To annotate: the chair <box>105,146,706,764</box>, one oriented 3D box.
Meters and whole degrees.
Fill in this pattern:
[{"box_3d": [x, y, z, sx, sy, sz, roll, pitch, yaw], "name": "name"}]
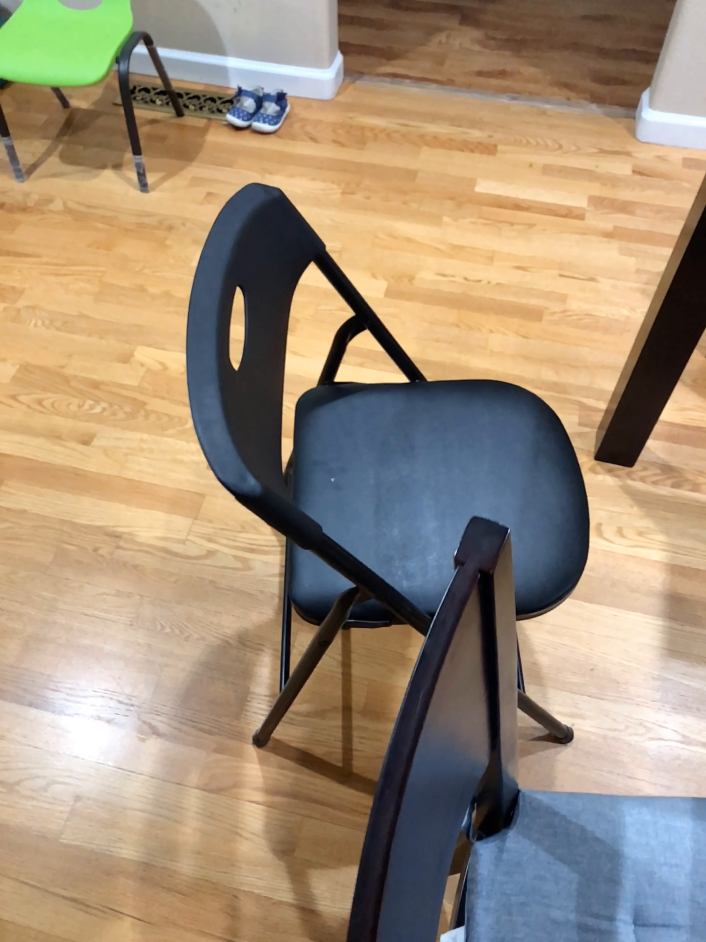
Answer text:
[{"box_3d": [0.063, 0.032, 1.048, 0.520, 0.697, 0.522, 0, 55, 0], "name": "chair"}]
